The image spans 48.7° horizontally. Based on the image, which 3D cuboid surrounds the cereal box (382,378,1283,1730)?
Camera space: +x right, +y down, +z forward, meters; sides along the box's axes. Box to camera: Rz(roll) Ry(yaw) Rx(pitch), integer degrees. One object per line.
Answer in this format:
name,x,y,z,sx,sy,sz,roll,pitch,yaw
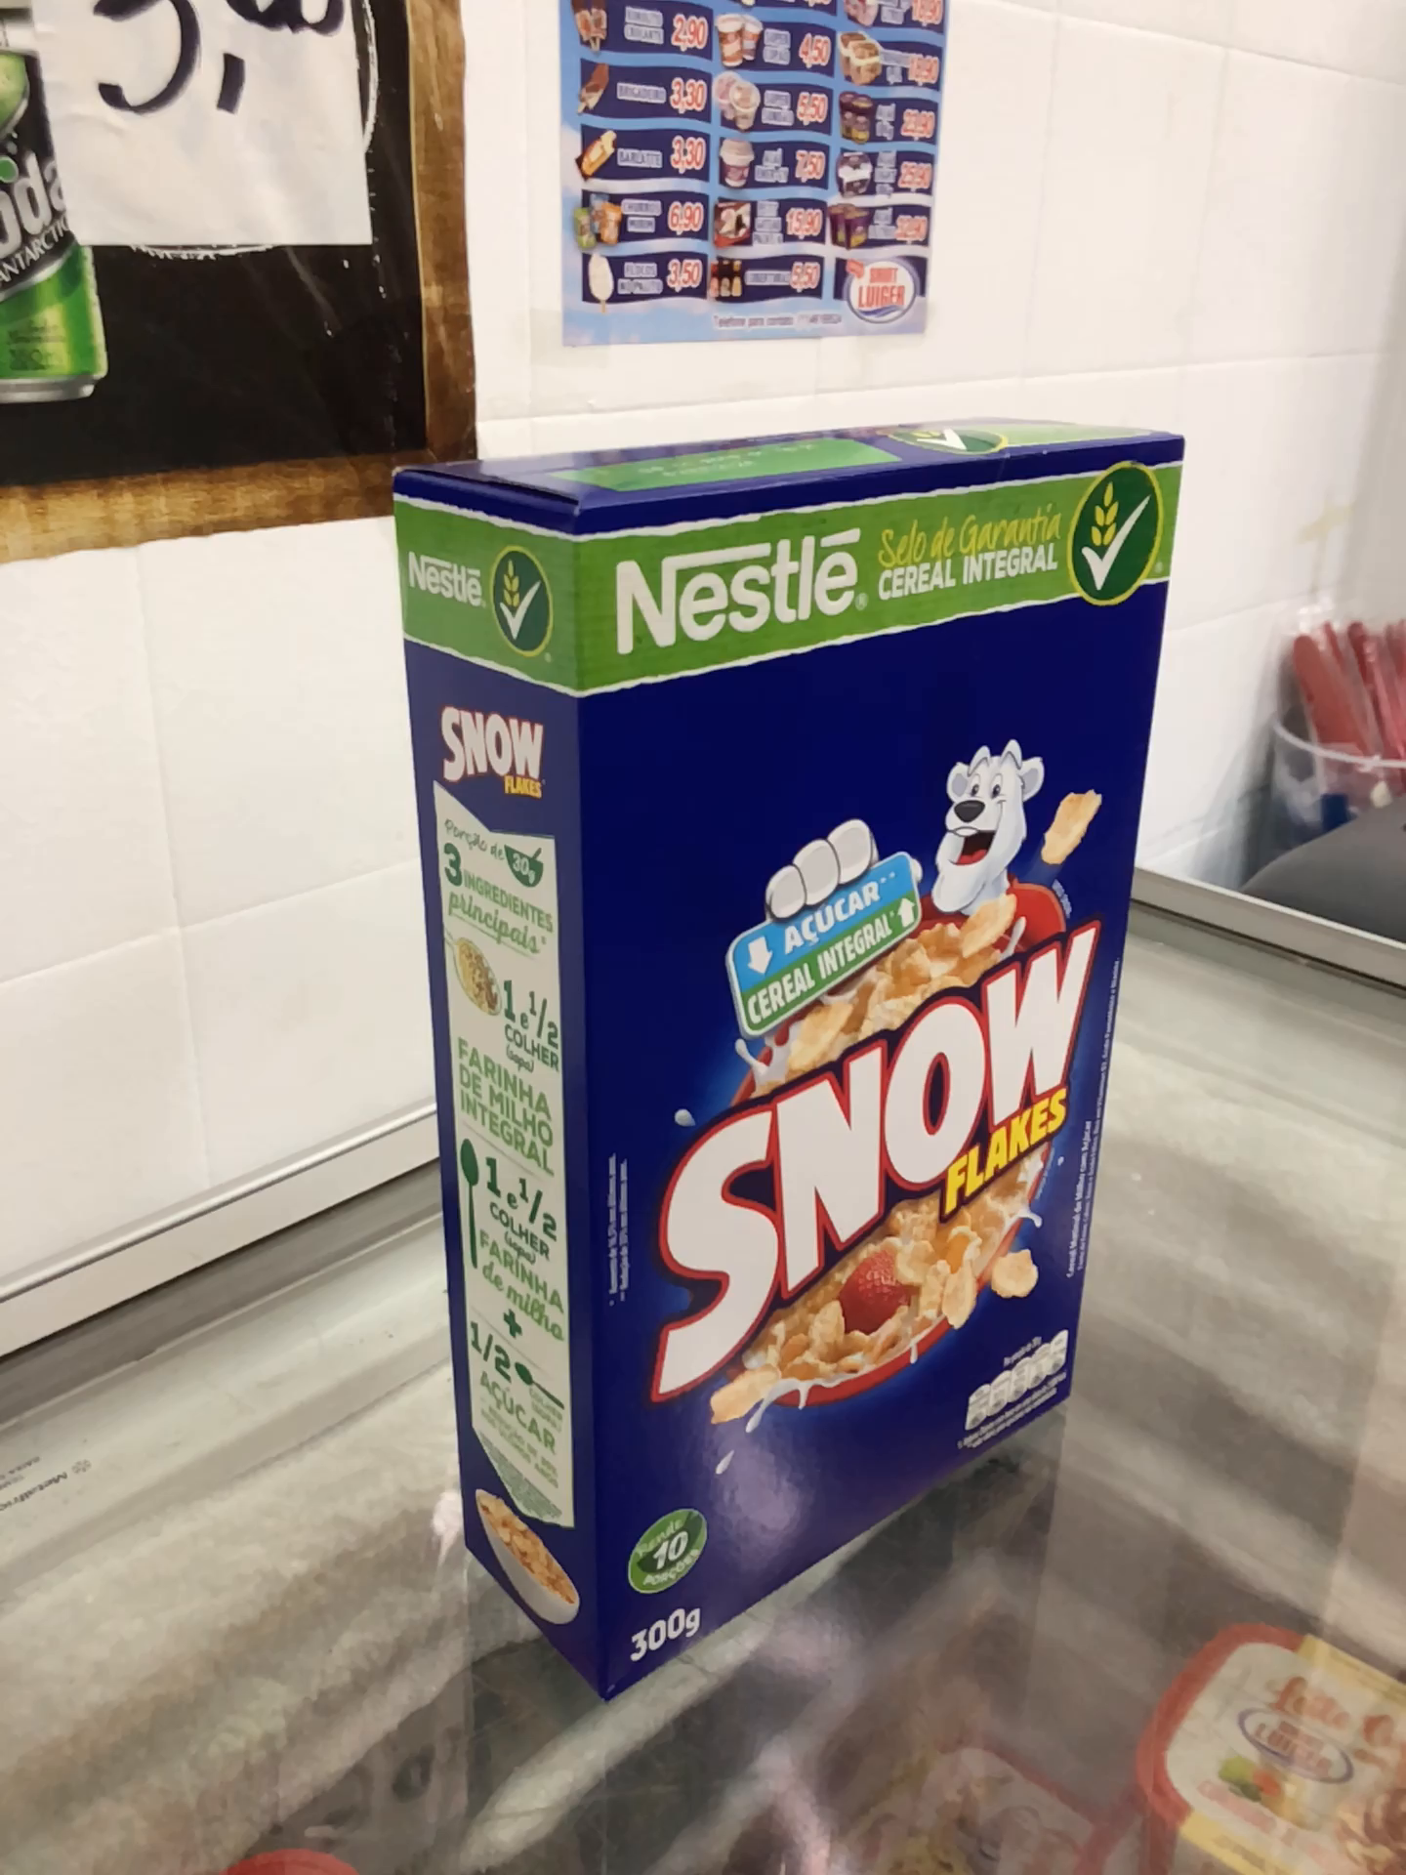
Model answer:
cereal box,0.028,0.016,0.349,0.170,0.258,0.070,-16,29,-35
